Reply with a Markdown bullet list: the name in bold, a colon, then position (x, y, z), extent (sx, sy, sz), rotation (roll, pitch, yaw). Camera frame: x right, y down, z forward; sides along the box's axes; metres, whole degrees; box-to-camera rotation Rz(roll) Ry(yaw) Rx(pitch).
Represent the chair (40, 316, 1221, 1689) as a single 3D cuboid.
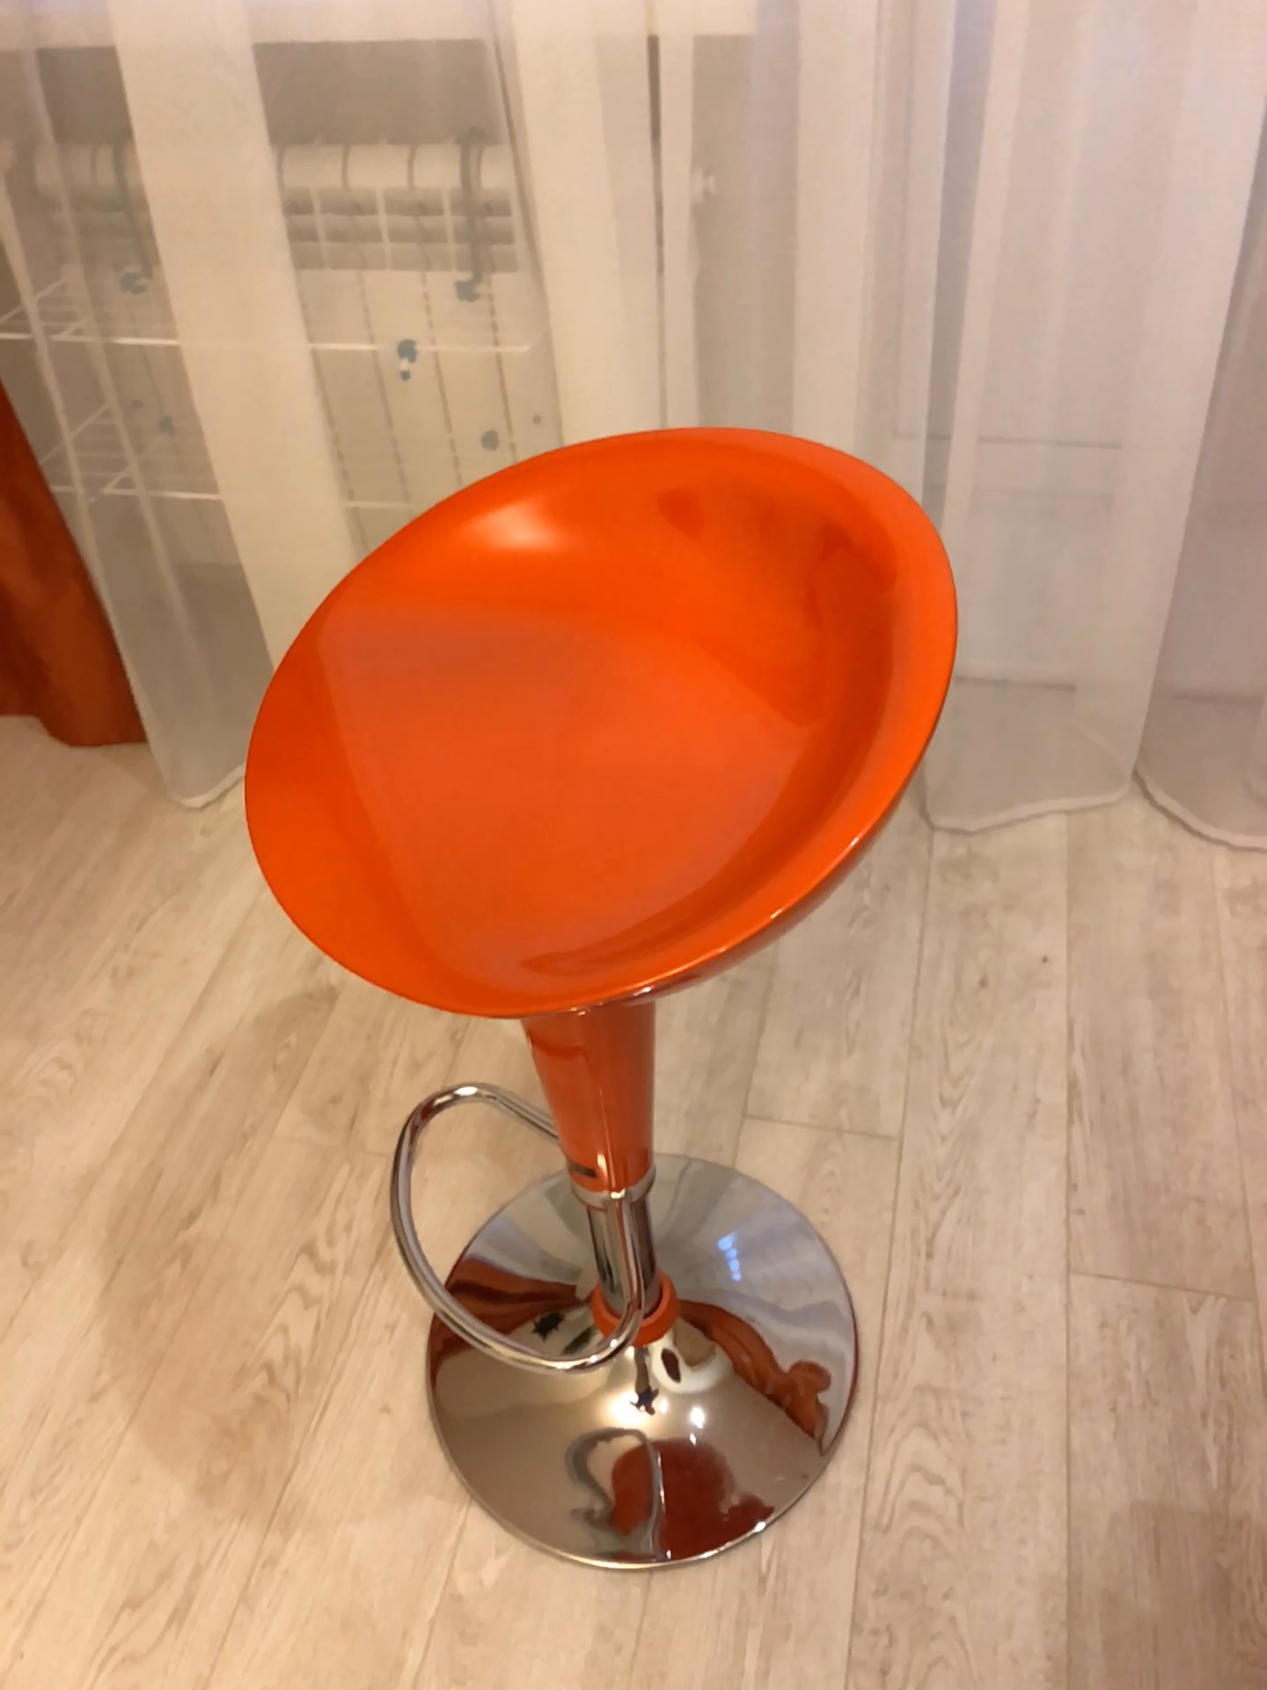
- **chair**: position (-0.011, 0.149, 0.860), extent (0.391, 0.735, 0.402), rotation (-20, 44, -16)
